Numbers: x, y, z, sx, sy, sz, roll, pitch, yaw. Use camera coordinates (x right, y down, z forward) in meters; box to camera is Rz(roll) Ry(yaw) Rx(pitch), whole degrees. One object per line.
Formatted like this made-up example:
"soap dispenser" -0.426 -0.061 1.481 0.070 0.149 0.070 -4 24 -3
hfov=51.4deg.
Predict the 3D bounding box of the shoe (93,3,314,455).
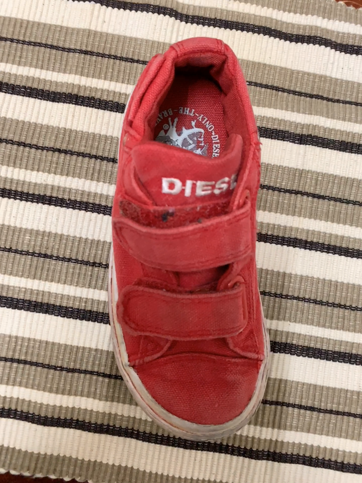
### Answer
"shoe" 0.007 -0.006 0.177 0.080 0.070 0.170 -1 87 -1
